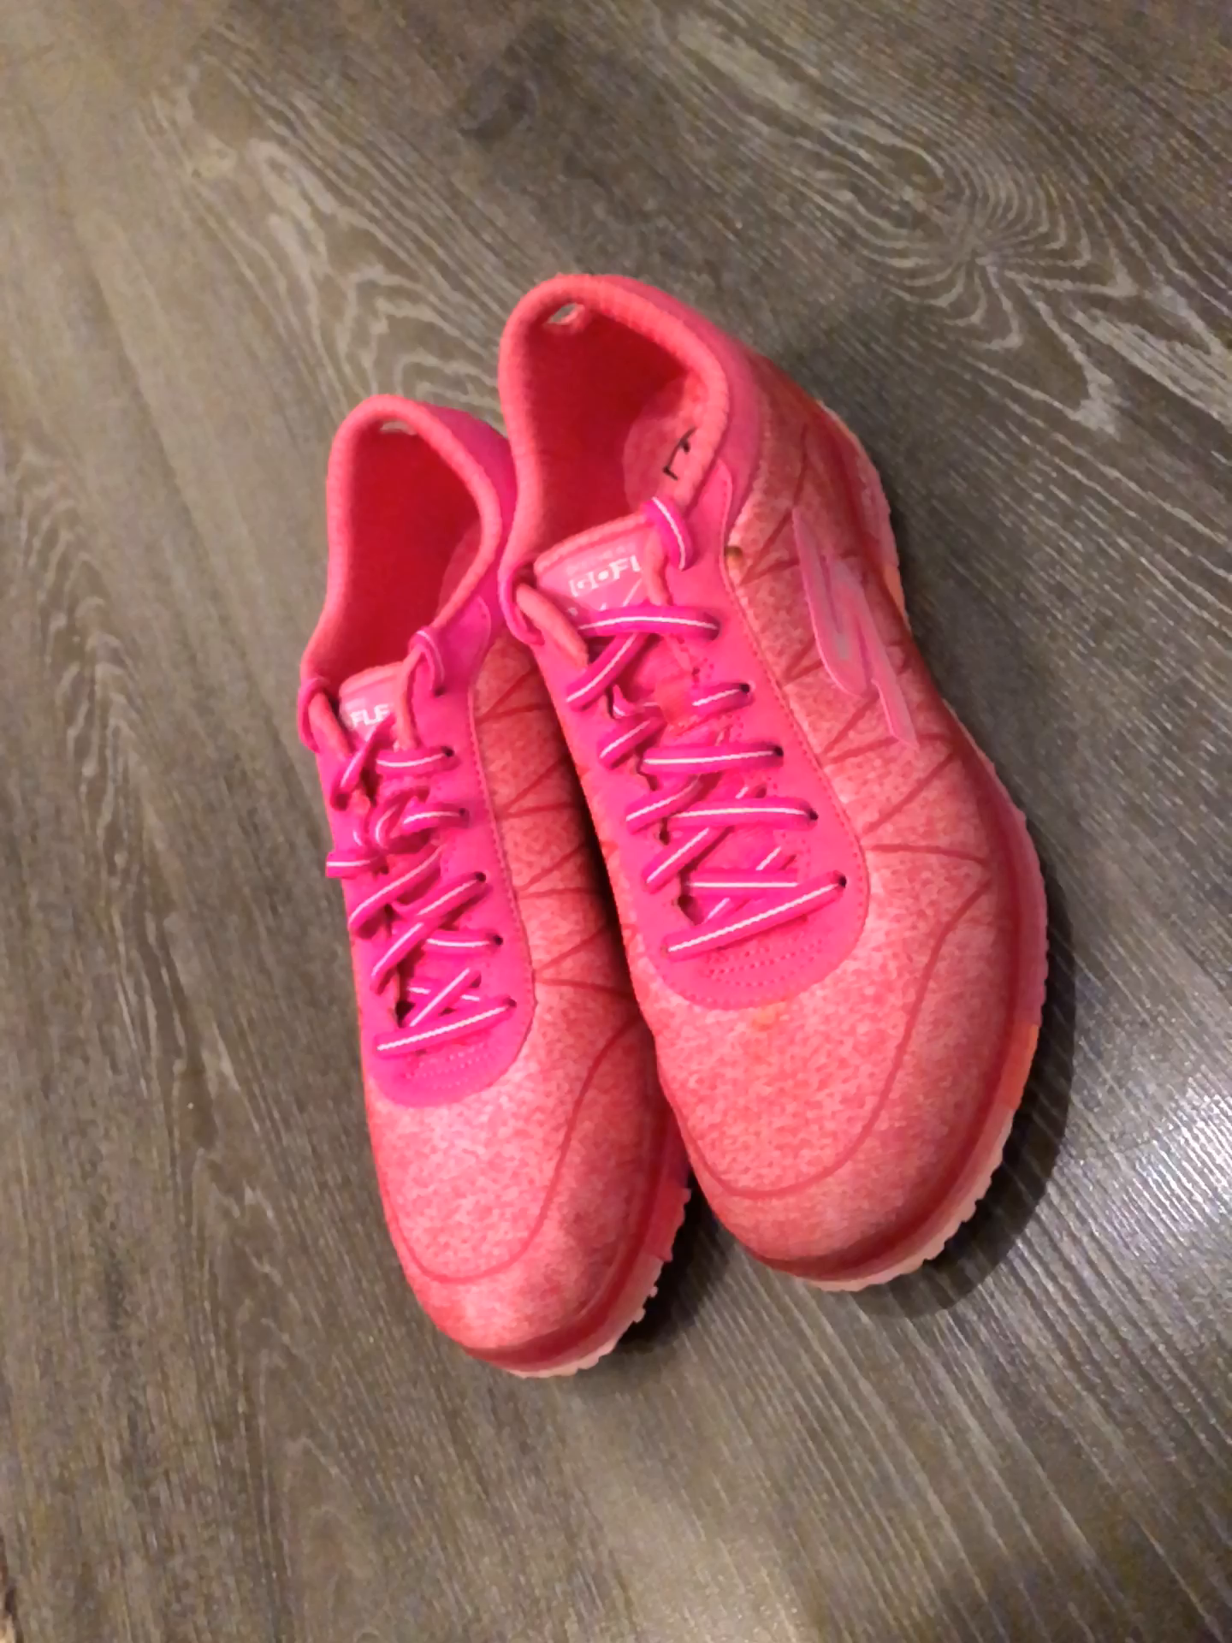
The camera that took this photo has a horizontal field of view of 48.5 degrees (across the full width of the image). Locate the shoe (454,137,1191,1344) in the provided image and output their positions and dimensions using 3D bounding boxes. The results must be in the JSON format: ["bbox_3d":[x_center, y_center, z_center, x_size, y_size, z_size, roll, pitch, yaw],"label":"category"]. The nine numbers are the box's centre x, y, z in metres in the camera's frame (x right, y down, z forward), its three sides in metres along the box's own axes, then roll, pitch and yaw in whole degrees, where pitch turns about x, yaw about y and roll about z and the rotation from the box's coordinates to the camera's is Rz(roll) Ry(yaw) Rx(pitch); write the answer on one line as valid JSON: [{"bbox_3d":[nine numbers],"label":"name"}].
[{"bbox_3d":[0.036,-0.022,0.331,0.100,0.090,0.261,-23,58,26],"label":"shoe"}]

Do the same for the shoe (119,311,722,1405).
[{"bbox_3d":[-0.047,0.010,0.365,0.100,0.090,0.261,-18,60,29],"label":"shoe"}]
